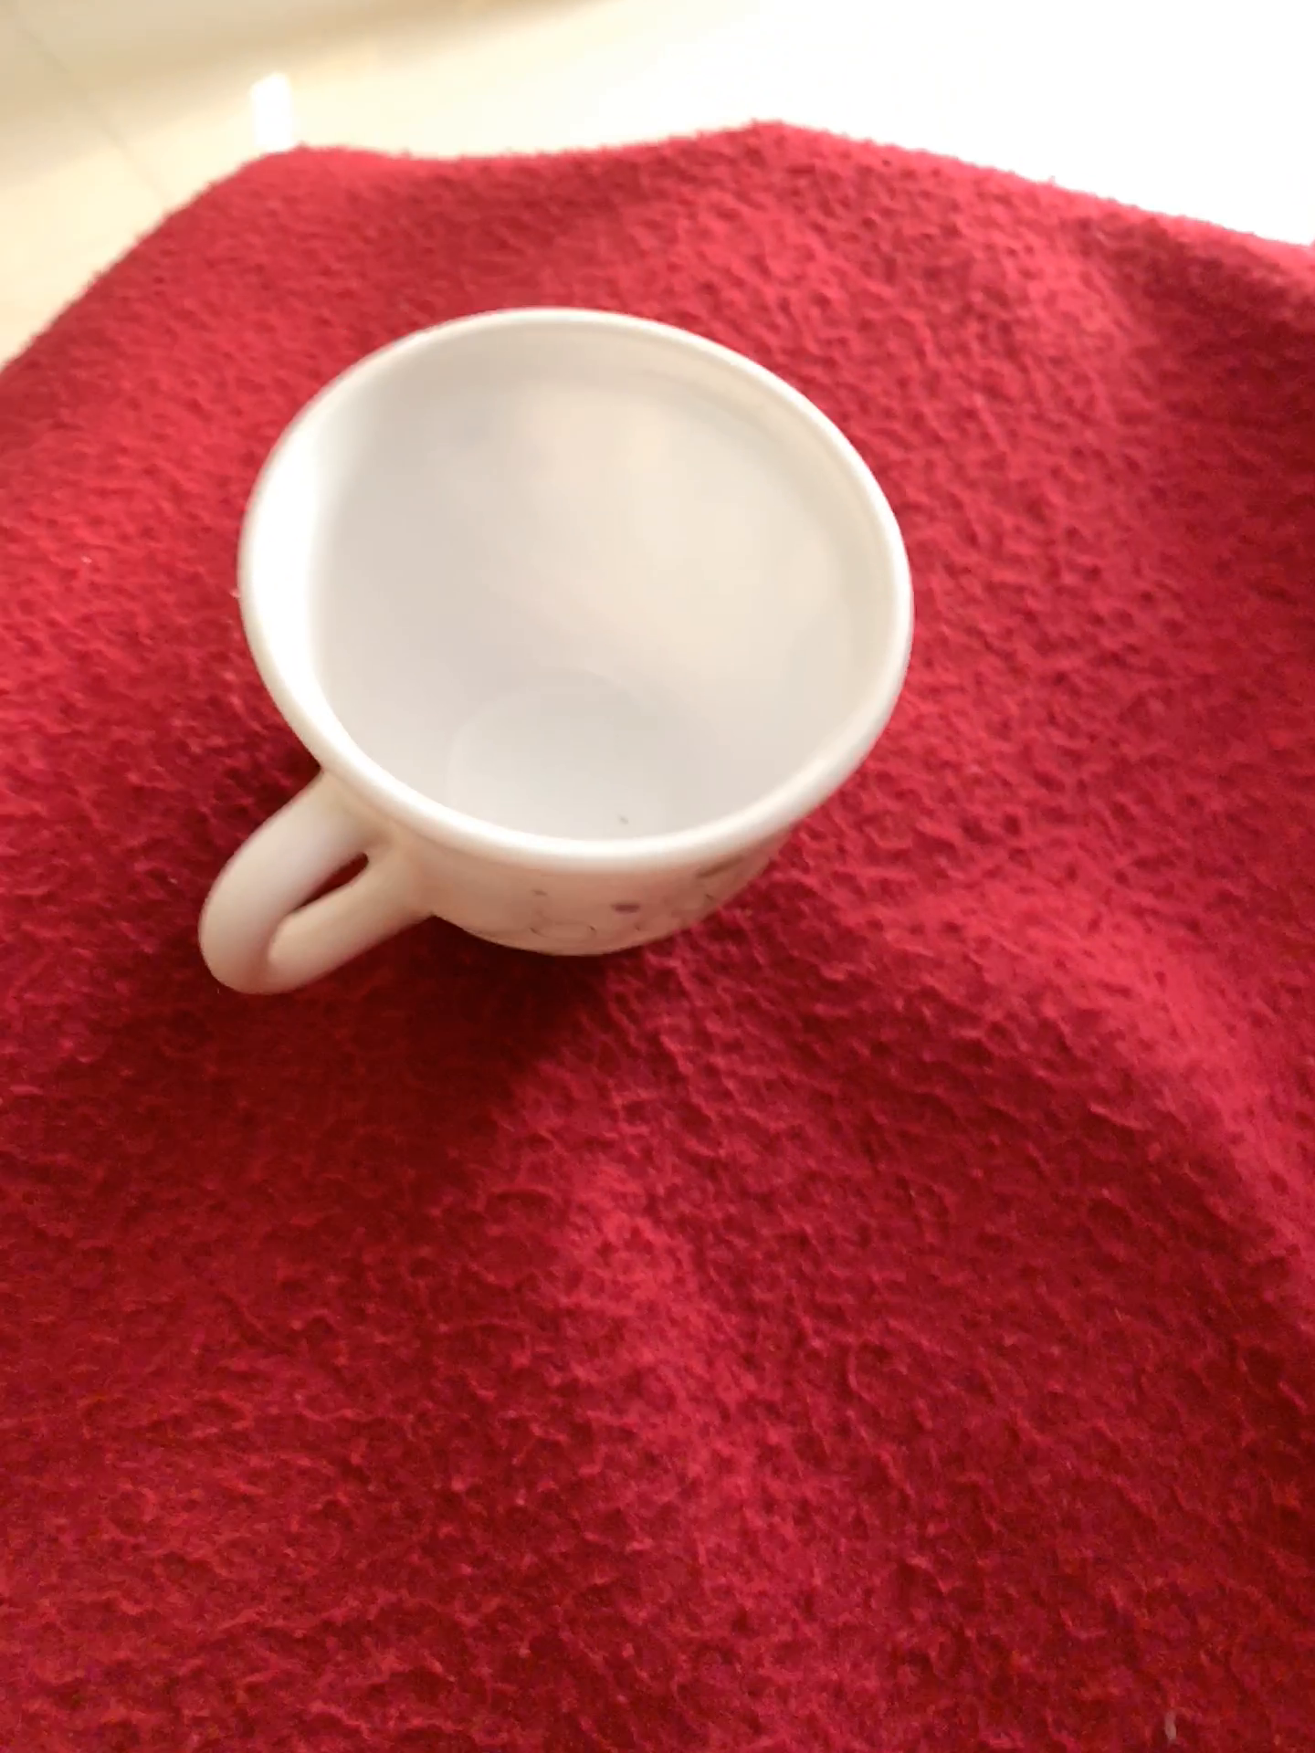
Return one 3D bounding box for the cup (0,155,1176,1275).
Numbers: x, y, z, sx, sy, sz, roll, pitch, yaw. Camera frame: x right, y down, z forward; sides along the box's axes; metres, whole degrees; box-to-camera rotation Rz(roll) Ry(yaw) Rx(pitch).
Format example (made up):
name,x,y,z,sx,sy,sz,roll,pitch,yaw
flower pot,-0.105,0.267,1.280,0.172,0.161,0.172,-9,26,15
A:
name,x,y,z,sx,sy,sz,roll,pitch,yaw
cup,-0.008,-0.022,0.167,0.080,0.050,0.100,42,69,16
